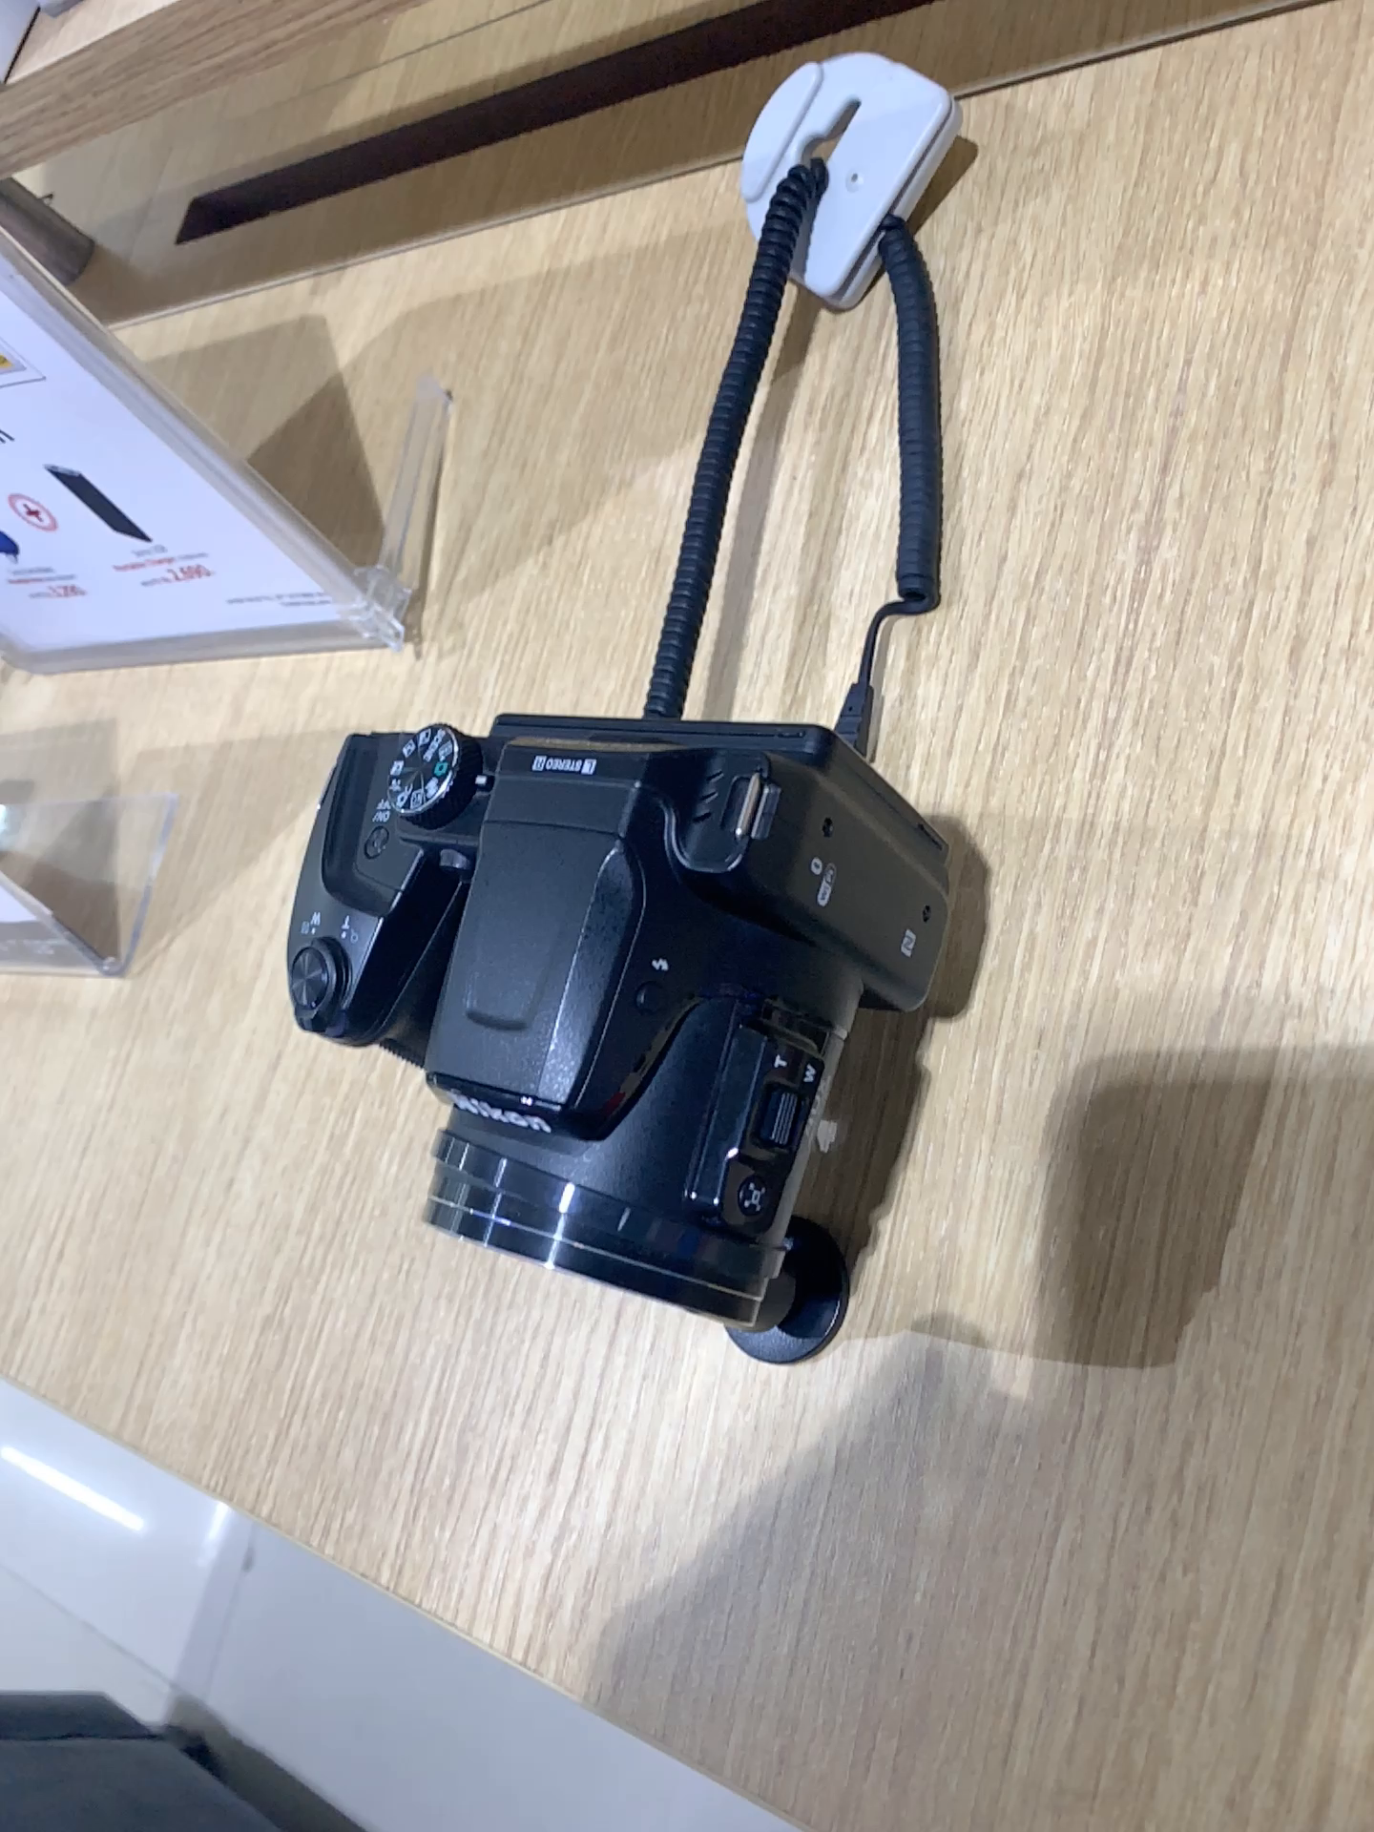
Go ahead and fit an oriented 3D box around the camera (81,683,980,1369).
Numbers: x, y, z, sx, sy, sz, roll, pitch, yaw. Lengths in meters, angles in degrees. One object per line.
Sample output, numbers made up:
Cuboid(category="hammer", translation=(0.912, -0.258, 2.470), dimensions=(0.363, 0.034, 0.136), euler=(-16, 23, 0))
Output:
Cuboid(category="camera", translation=(-0.027, 0.017, 0.258), dimensions=(0.121, 0.080, 0.090), euler=(7, 75, 37))
